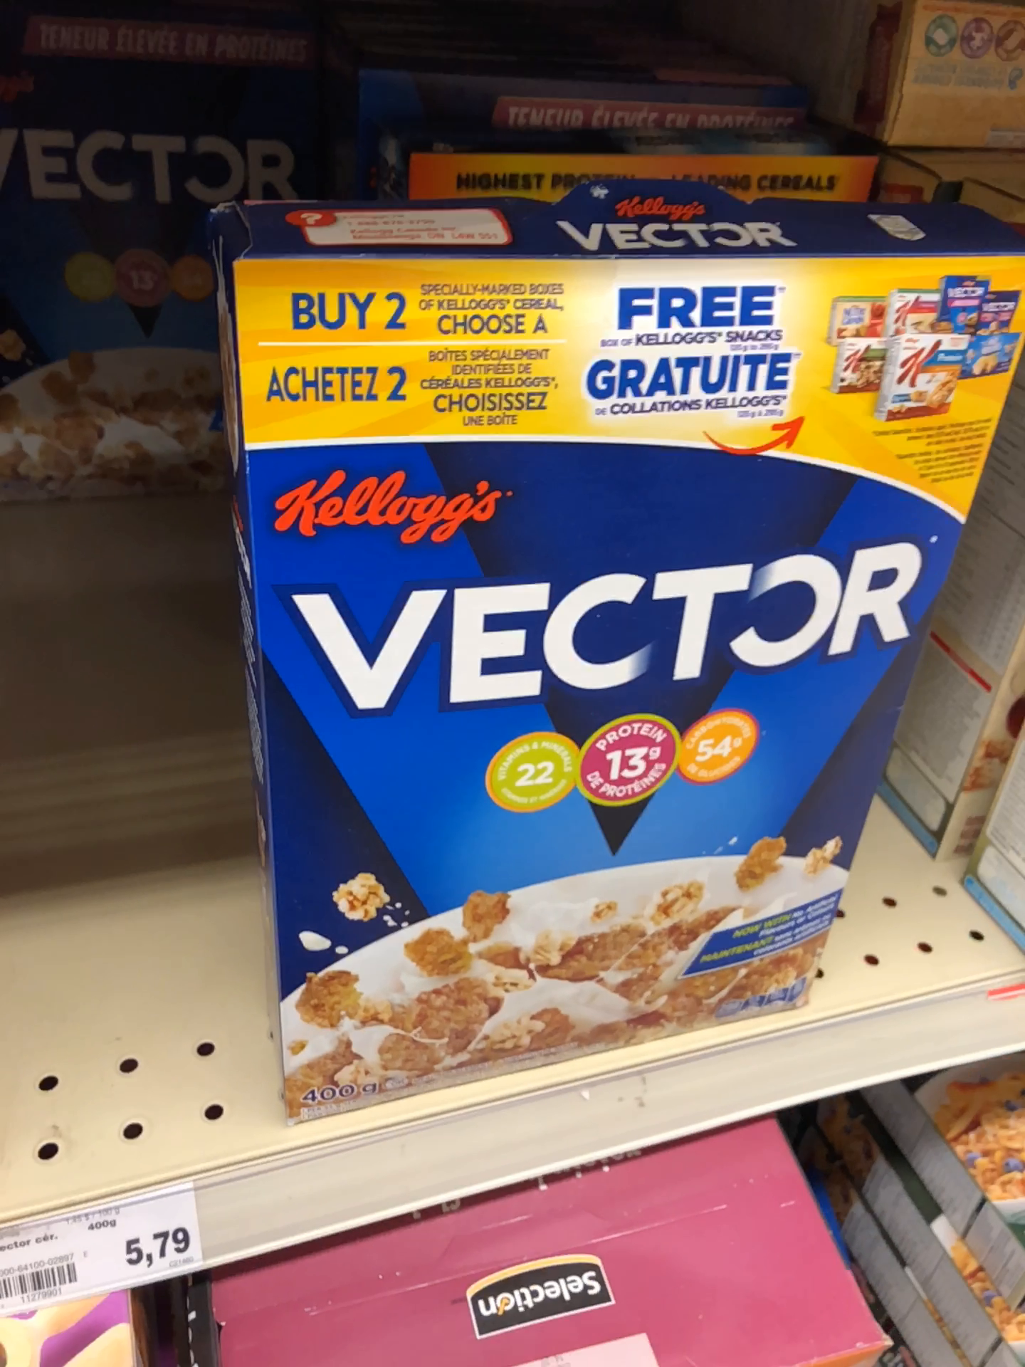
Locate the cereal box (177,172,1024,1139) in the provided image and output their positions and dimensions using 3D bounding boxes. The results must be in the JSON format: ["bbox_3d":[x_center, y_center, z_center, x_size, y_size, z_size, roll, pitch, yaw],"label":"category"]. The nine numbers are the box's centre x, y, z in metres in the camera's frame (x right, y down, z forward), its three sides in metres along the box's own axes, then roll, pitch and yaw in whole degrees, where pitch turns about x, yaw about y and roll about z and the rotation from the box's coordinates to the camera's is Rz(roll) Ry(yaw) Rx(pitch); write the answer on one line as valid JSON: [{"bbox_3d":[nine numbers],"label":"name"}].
[{"bbox_3d":[0.021,0.004,0.330,0.200,0.268,0.060,-7,38,-18],"label":"cereal box"}]
